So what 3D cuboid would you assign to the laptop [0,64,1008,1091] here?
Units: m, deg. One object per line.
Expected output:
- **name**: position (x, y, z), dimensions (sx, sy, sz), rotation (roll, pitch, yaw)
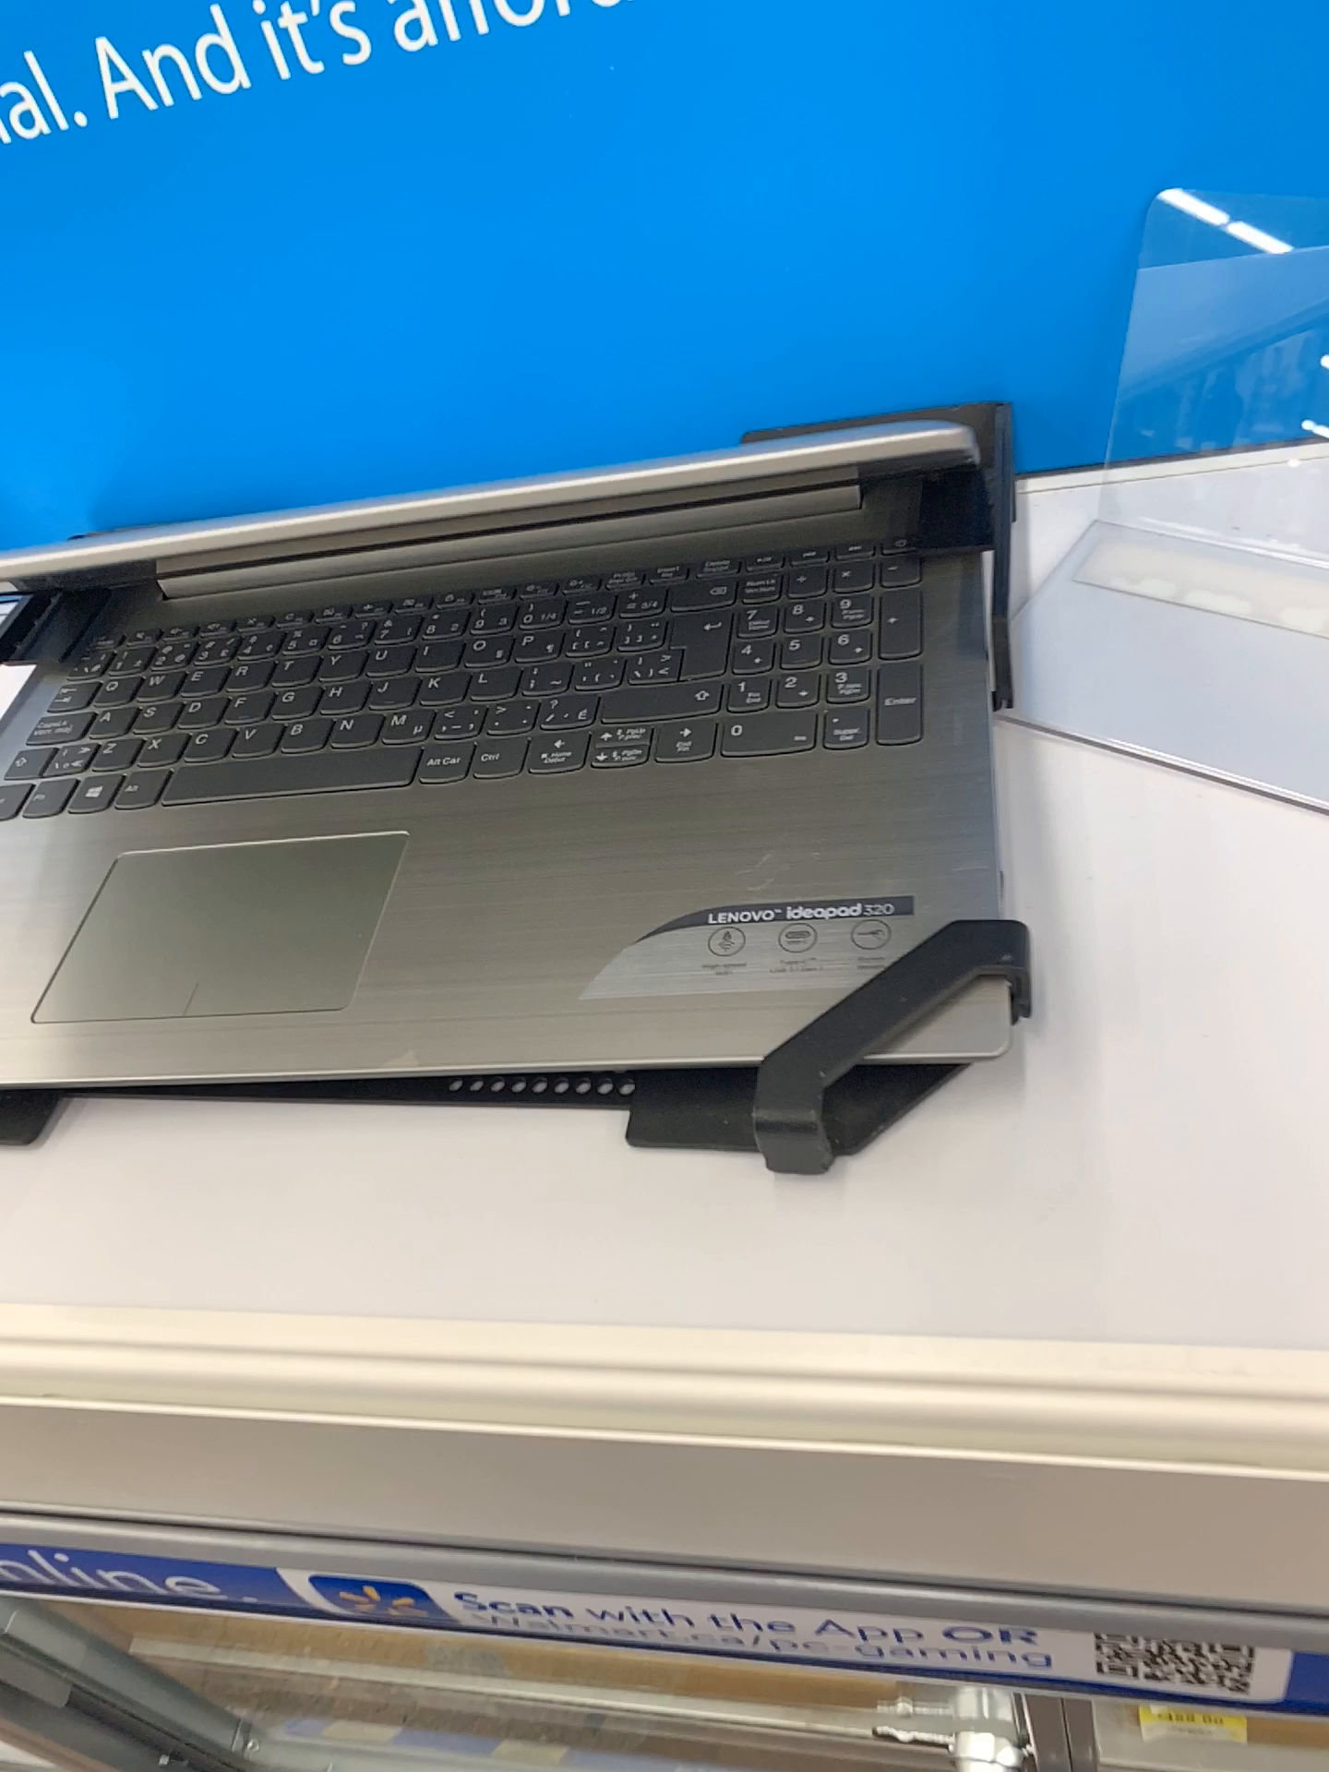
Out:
- **laptop**: position (-0.085, -0.080, 0.359), dimensions (0.326, 0.115, 0.230), rotation (-4, 47, 14)
